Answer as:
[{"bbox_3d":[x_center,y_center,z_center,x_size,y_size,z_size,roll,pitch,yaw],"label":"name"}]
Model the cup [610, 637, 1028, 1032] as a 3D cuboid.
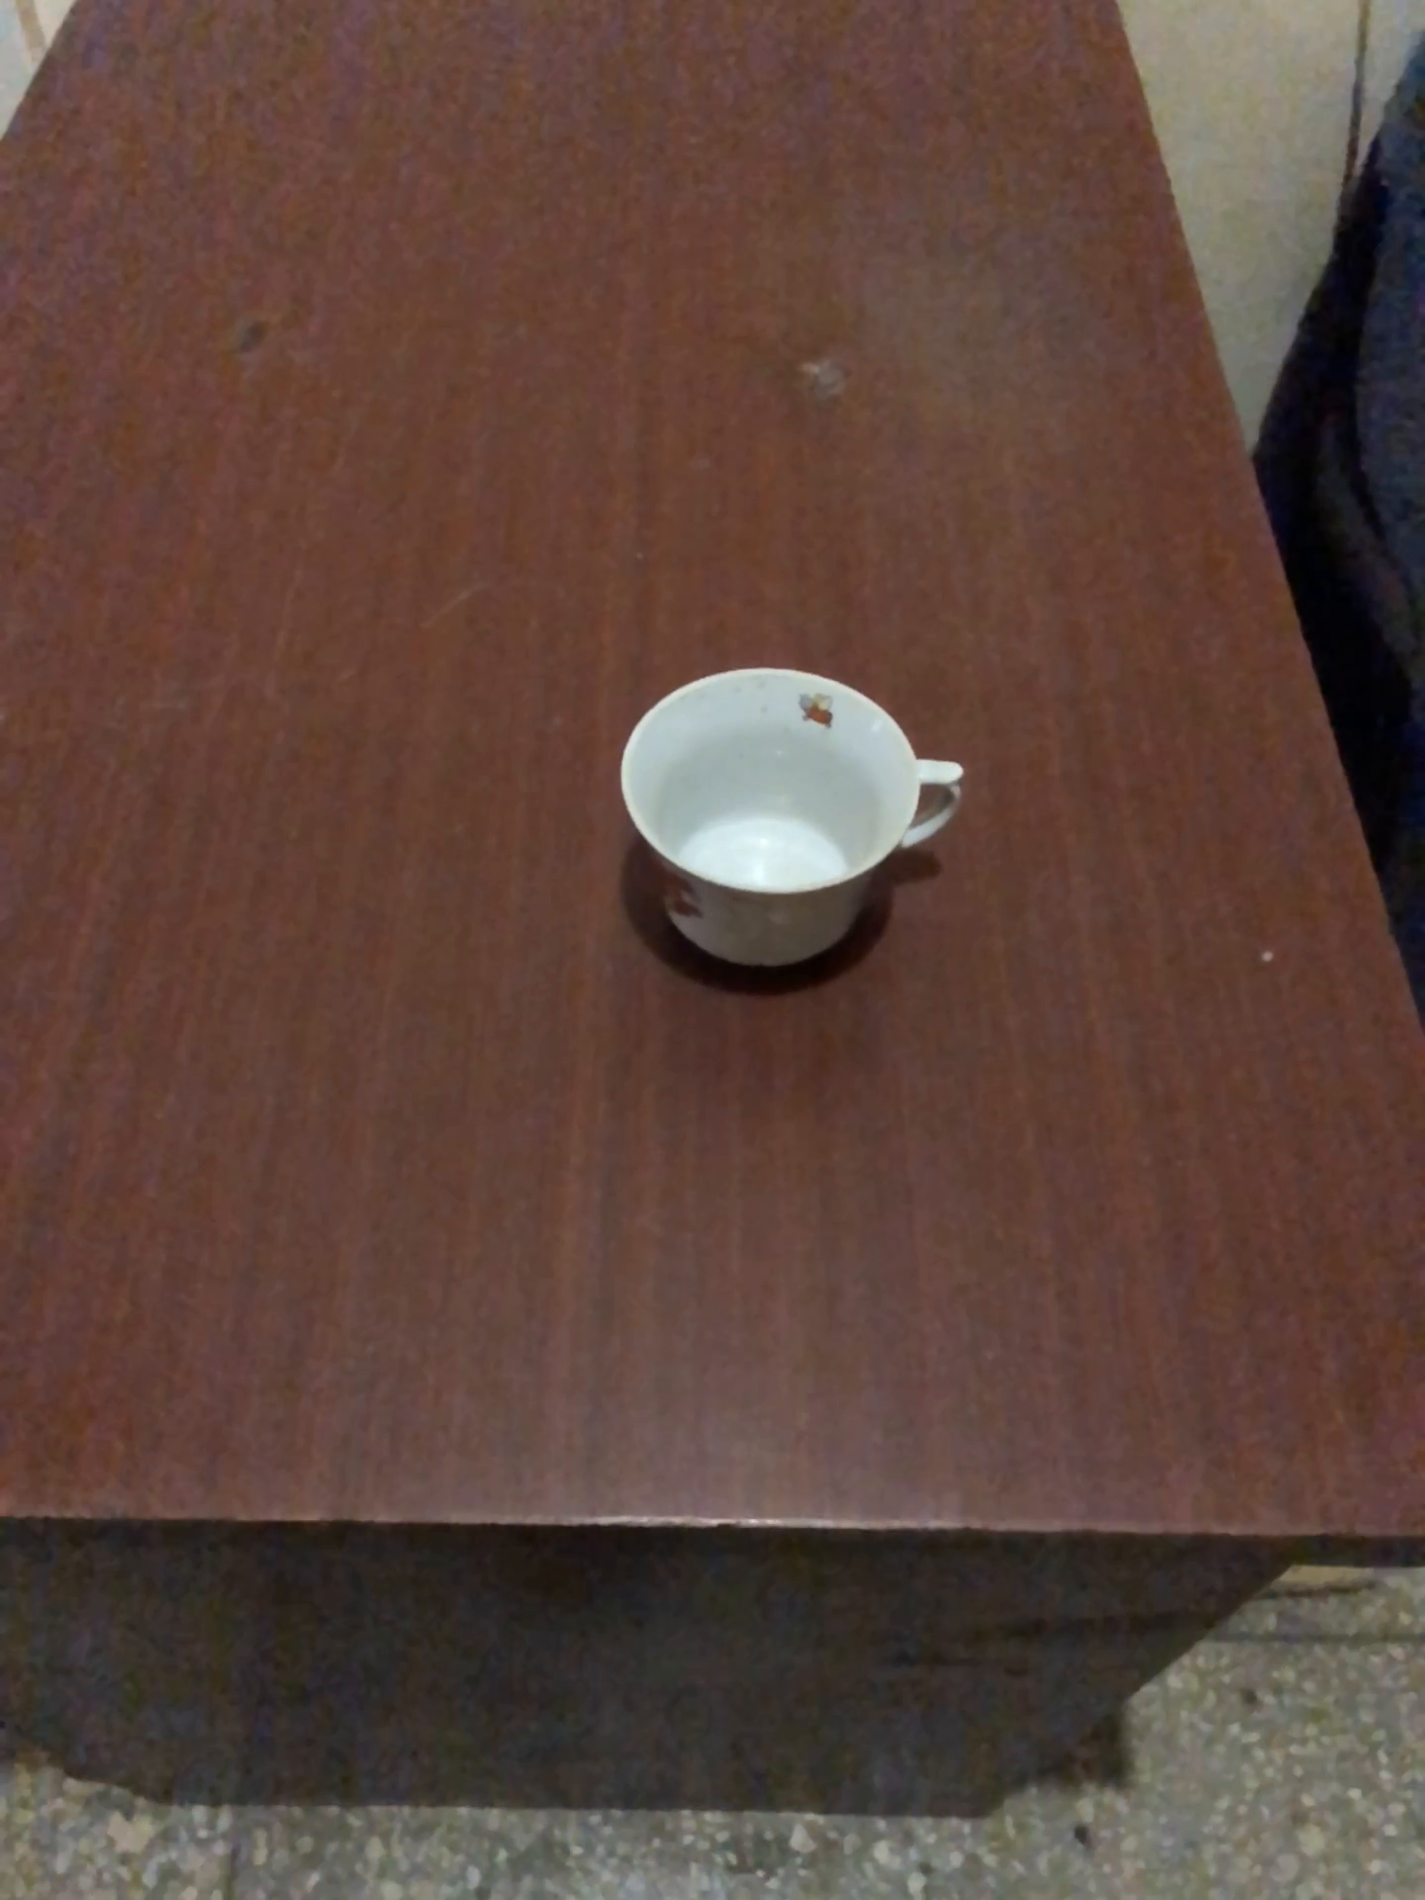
[{"bbox_3d":[0.029,-0.038,0.499,0.110,0.059,0.100,-6,55,-5],"label":"cup"}]
